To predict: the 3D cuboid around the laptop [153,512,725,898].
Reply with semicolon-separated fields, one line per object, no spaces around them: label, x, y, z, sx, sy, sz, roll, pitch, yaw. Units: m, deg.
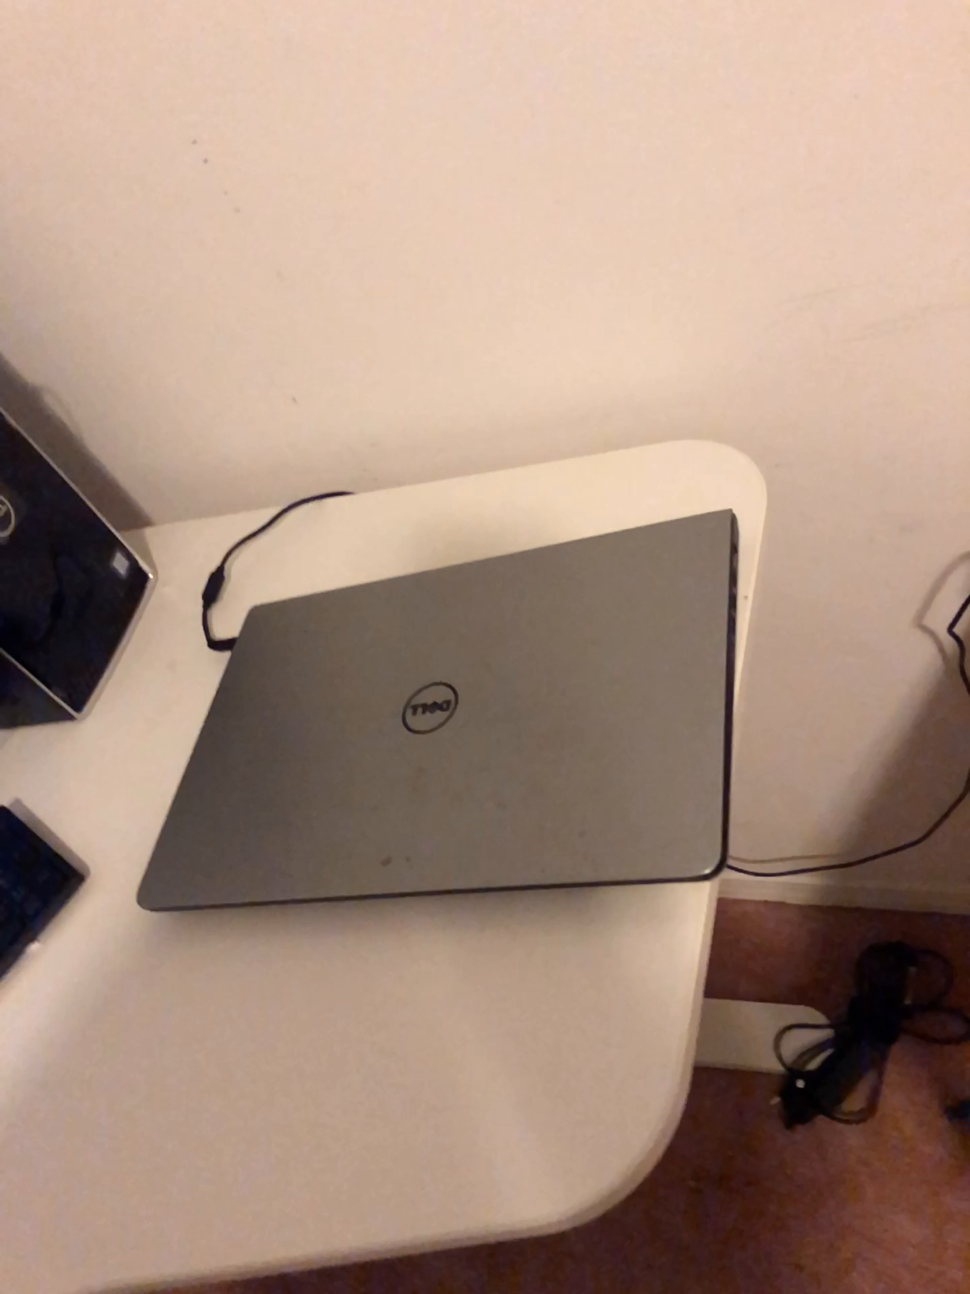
laptop;-0.032;0.039;0.677;0.372;0.001;0.248;-10;48;27
